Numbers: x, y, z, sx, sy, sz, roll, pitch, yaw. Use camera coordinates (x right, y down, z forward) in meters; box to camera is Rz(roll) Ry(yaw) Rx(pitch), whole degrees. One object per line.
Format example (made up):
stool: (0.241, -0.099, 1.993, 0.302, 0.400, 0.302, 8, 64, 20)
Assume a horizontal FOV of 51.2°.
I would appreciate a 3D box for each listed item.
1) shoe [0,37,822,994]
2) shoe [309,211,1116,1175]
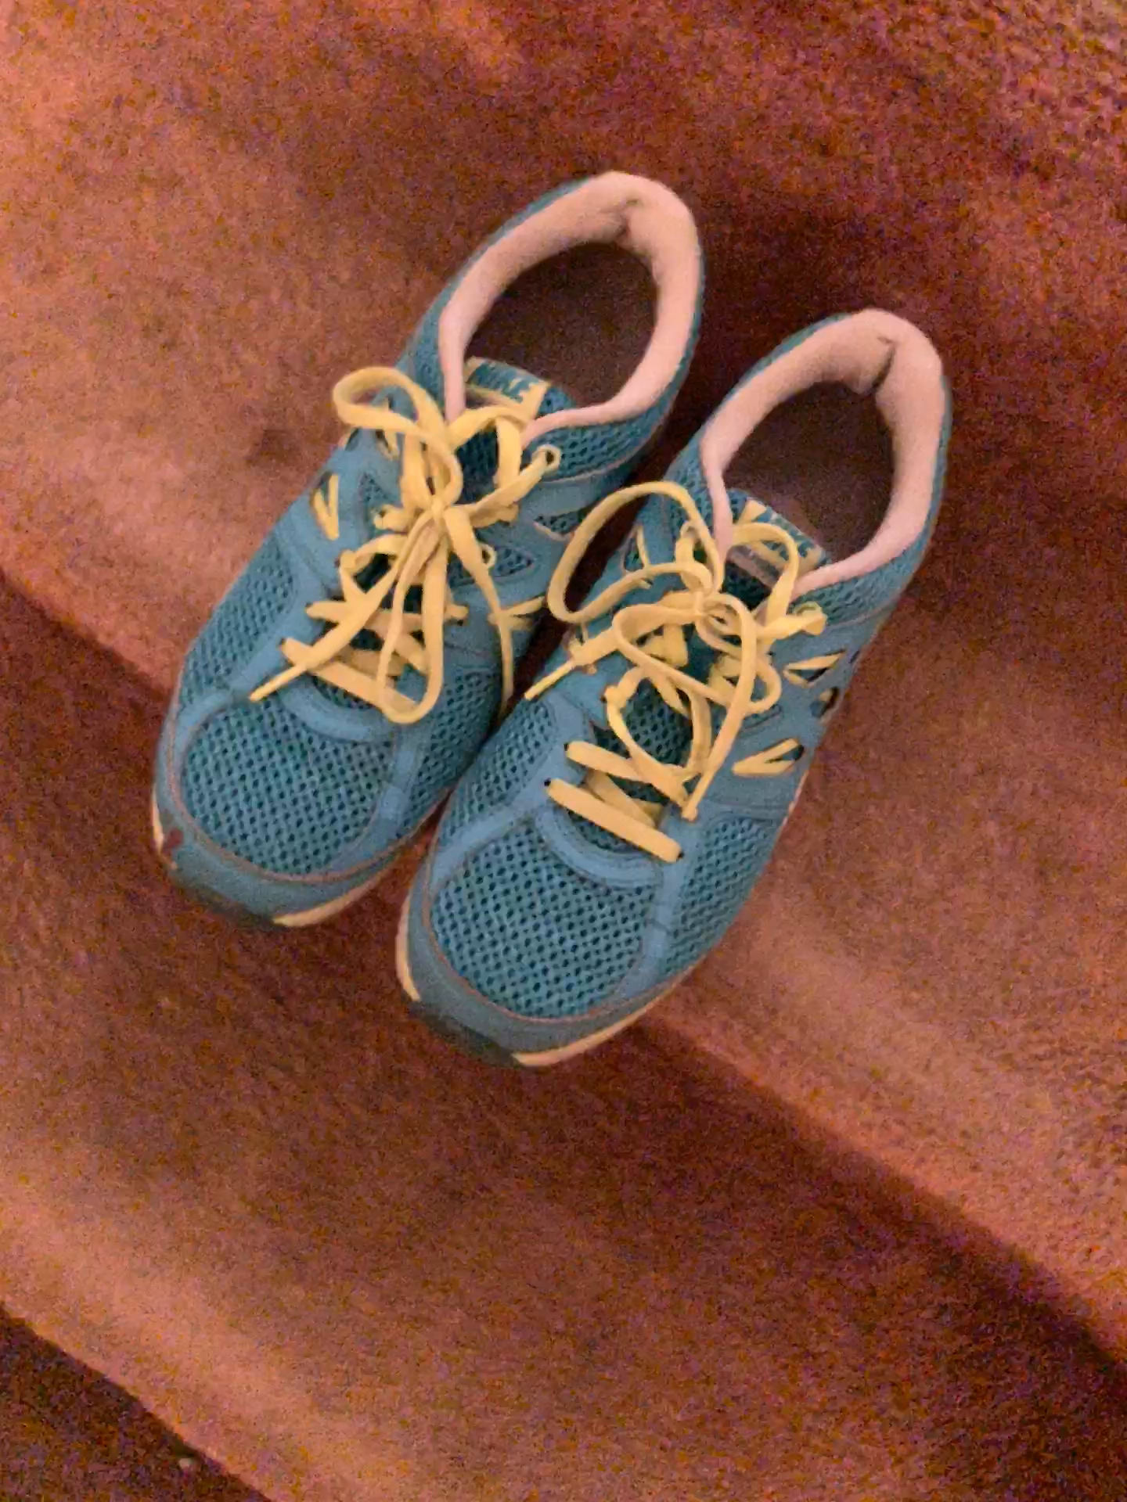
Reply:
shoe: (-0.040, -0.080, 0.376, 0.110, 0.100, 0.281, 31, 67, 1)
shoe: (0.050, -0.023, 0.373, 0.110, 0.100, 0.281, 34, 67, 2)
